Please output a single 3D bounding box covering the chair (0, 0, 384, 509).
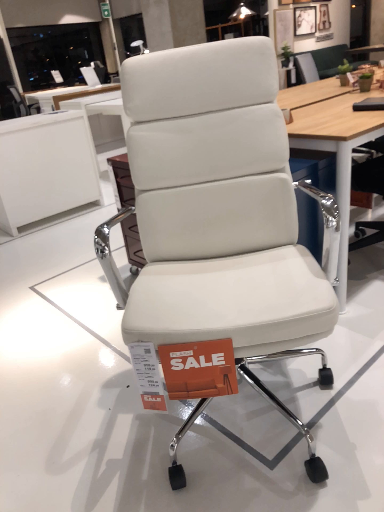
[{"bbox_3d":[0.104,-0.018,1.103,0.660,1.013,0.655,-7,25,3],"label":"chair"}]
